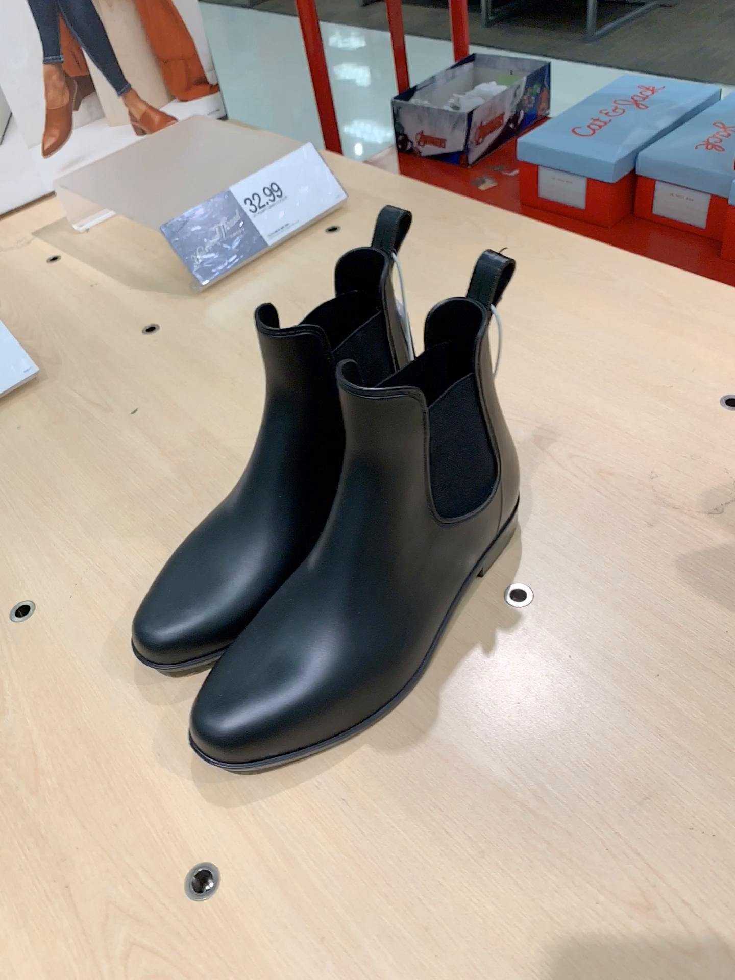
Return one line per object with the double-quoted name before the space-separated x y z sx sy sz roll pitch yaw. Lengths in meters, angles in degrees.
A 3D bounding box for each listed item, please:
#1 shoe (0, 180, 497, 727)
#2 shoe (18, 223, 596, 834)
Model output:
"shoe" -0.056 -0.032 0.484 0.286 0.201 0.114 -39 50 -25
"shoe" -0.002 0.014 0.430 0.286 0.199 0.100 -39 50 -25
